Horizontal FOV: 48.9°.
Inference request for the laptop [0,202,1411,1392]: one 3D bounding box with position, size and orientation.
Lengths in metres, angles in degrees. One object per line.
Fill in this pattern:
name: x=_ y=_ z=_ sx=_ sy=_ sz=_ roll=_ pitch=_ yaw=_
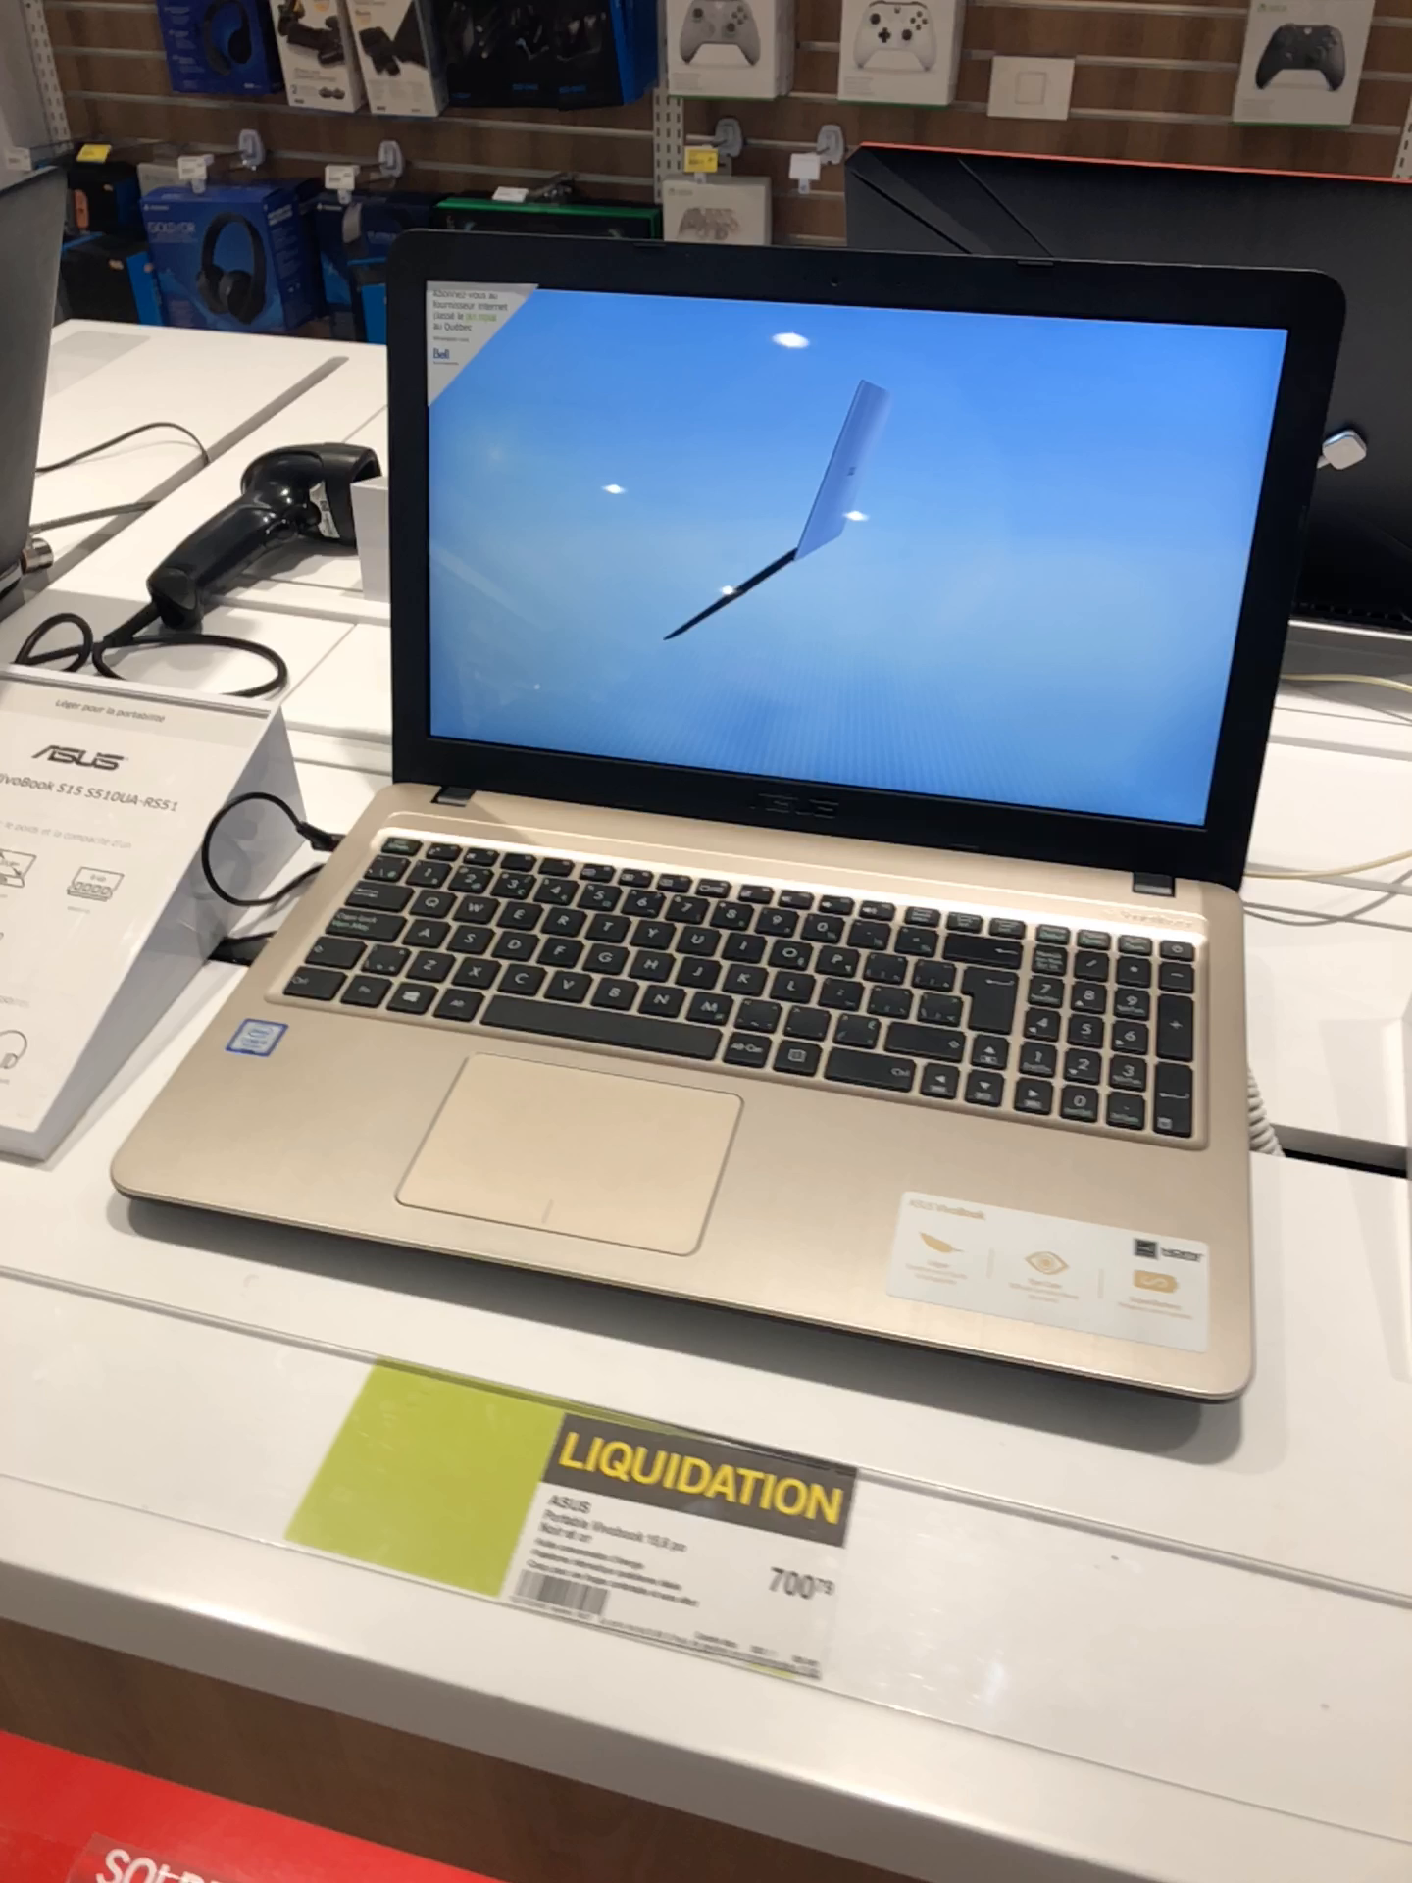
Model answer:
laptop: x=0.019 y=-0.087 z=0.558 sx=0.370 sy=0.204 sz=0.339 roll=9 pitch=43 yaw=11
